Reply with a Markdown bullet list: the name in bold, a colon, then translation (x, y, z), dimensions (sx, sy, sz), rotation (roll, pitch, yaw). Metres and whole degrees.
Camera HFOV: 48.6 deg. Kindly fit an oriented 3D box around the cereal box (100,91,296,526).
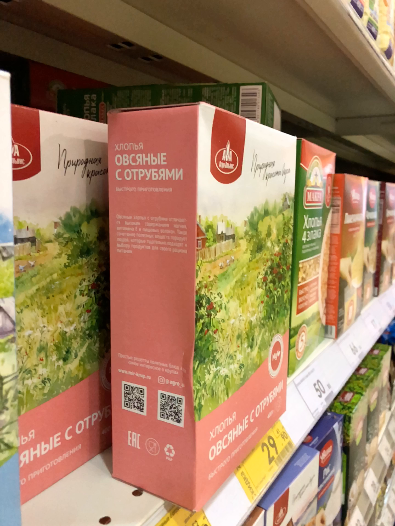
- **cereal box**: translation (0.009, 0.018, 0.276), dimensions (0.060, 0.210, 0.130), rotation (5, 9, 30)
